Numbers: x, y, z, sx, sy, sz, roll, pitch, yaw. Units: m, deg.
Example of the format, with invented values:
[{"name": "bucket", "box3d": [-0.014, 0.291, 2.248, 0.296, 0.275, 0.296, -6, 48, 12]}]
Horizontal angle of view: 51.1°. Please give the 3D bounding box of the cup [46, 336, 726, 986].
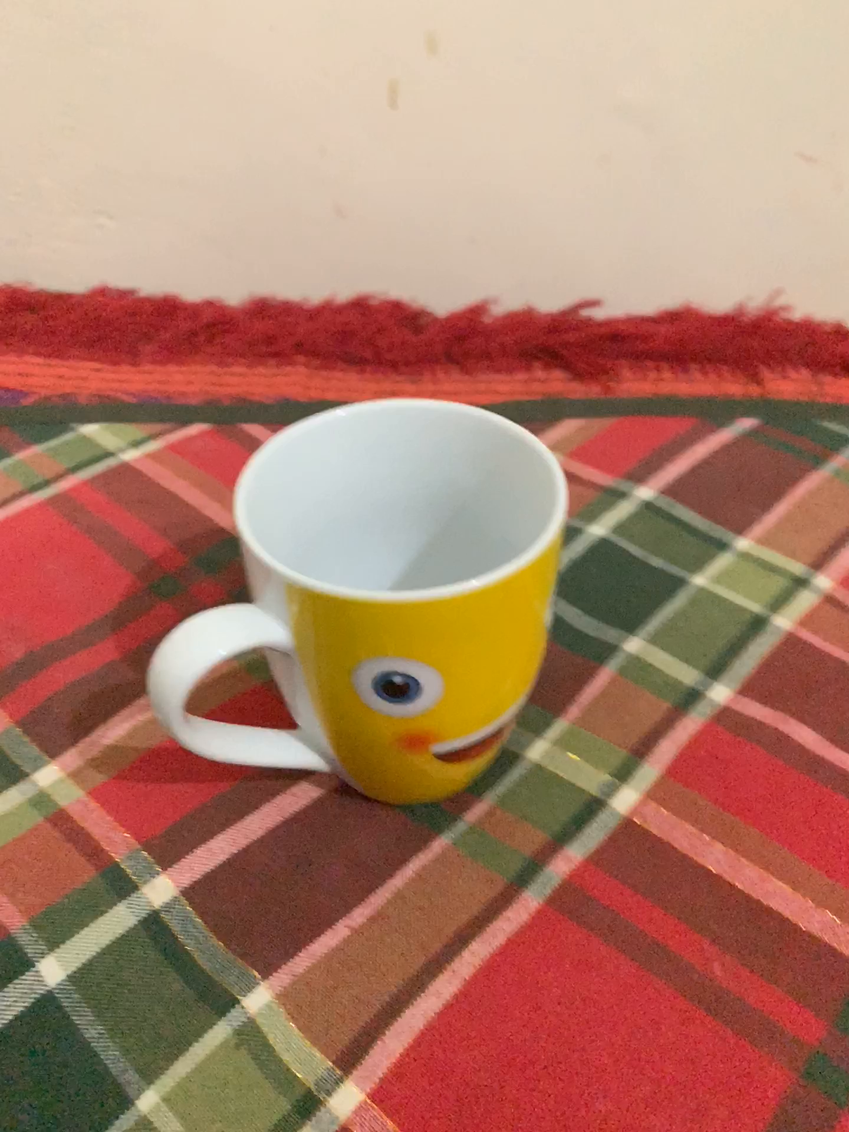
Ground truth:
[{"name": "cup", "box3d": [-0.006, 0.015, 0.215, 0.120, 0.080, 0.080, -29, 50, -27]}]
